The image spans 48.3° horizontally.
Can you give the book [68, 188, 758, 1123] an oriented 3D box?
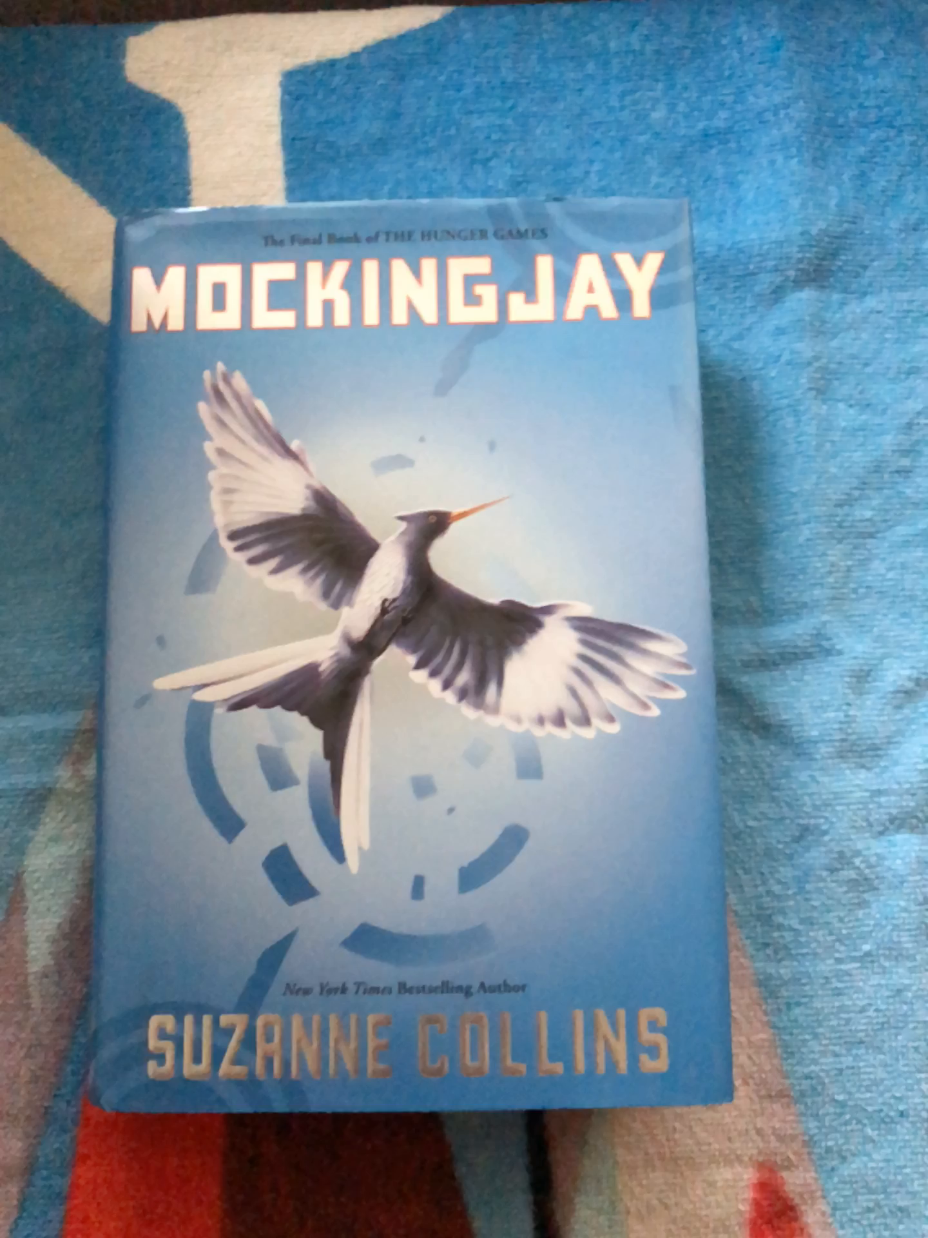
[{"bbox_3d":[-0.012,0.005,0.243,0.140,0.040,0.200,-1,82,2],"label":"book"}]
